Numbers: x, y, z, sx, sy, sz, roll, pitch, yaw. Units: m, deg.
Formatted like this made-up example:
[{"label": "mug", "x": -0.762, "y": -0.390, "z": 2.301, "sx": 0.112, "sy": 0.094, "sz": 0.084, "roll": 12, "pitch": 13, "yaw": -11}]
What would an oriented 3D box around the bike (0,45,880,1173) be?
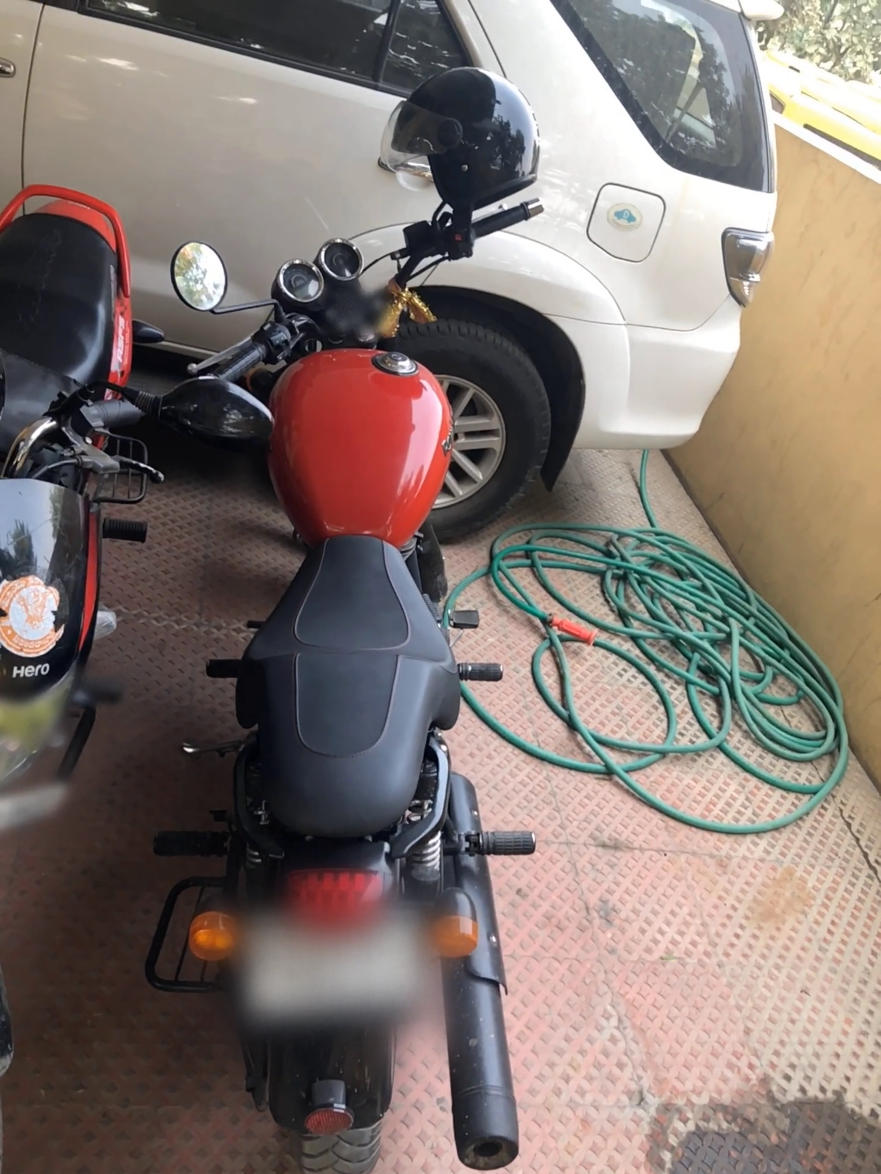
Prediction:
[{"label": "bike", "x": -0.294, "y": -0.042, "z": 1.778, "sx": 0.820, "sy": 1.270, "sz": 1.721, "roll": 10, "pitch": 35, "yaw": -15}]
